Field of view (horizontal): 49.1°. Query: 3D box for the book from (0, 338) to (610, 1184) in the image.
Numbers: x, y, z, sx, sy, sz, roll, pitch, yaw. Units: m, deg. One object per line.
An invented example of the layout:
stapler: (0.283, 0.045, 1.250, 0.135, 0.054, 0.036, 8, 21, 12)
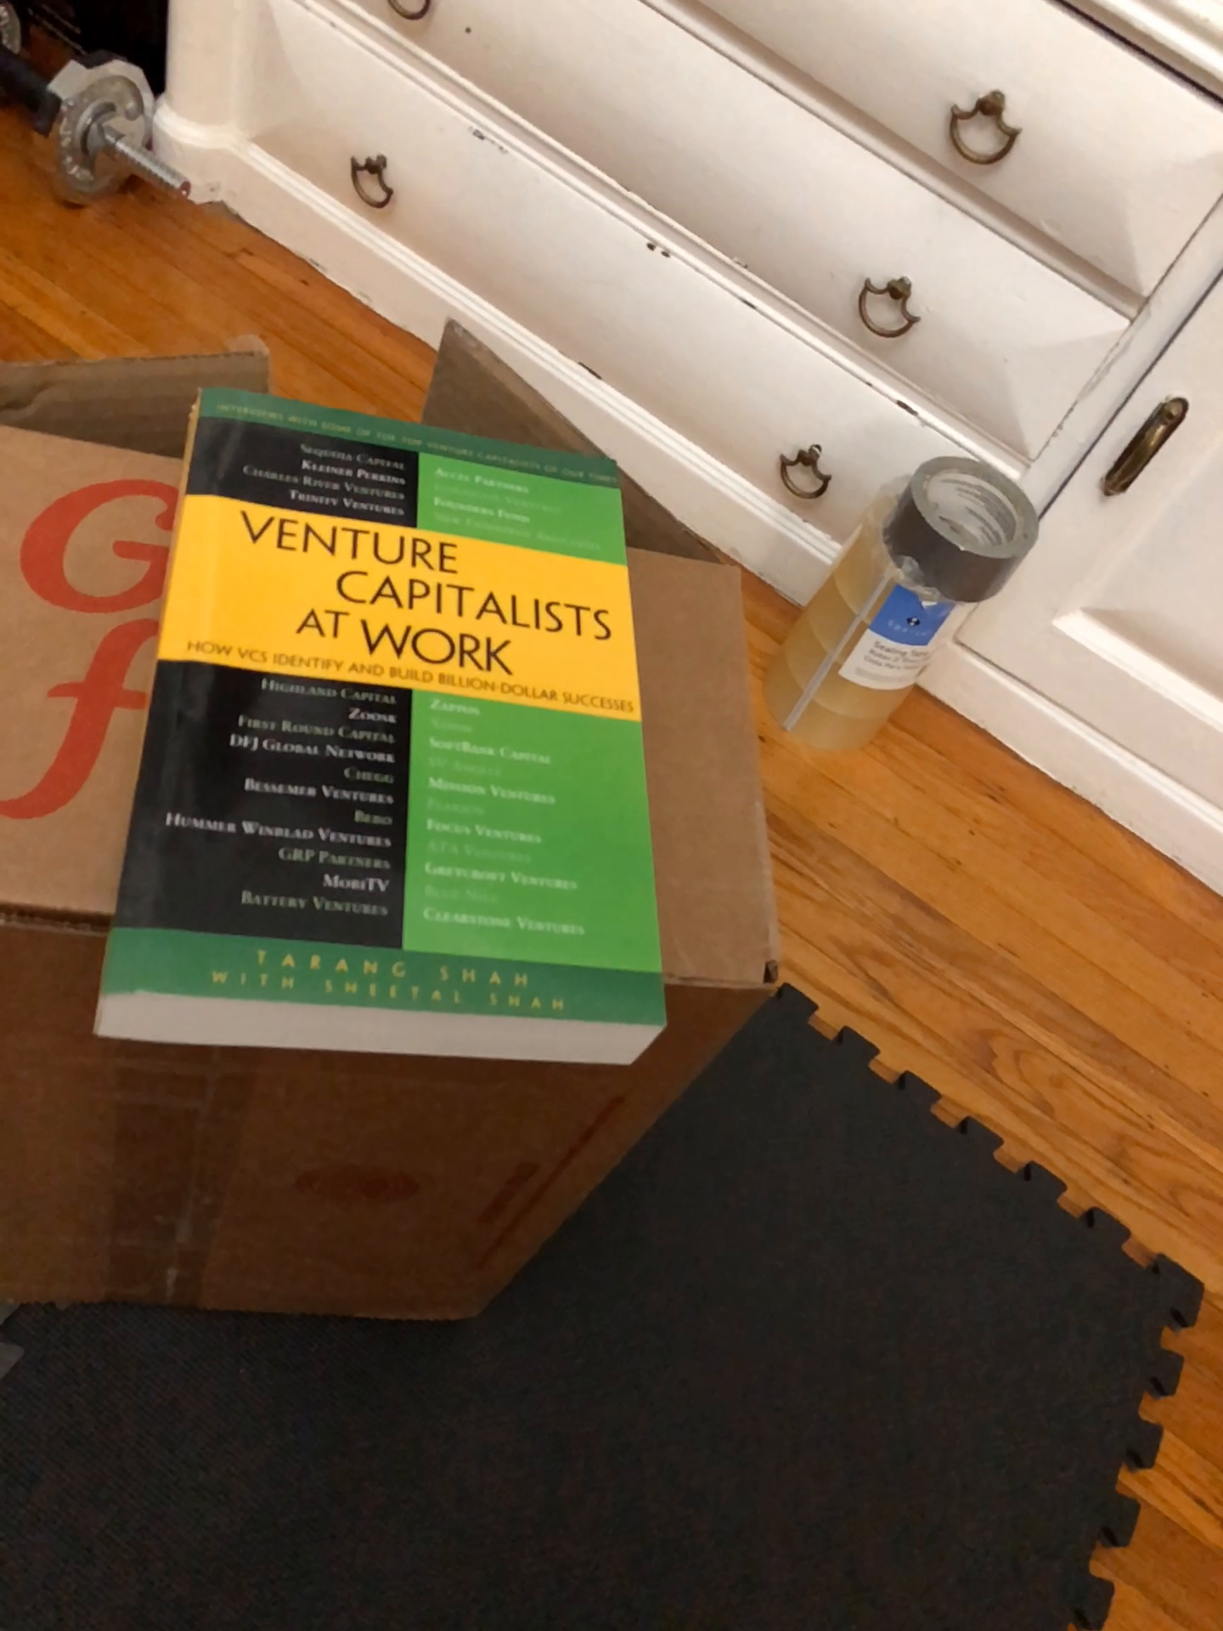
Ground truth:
book: (-0.091, -0.026, 0.403, 0.160, 0.040, 0.261, 6, 56, -16)
